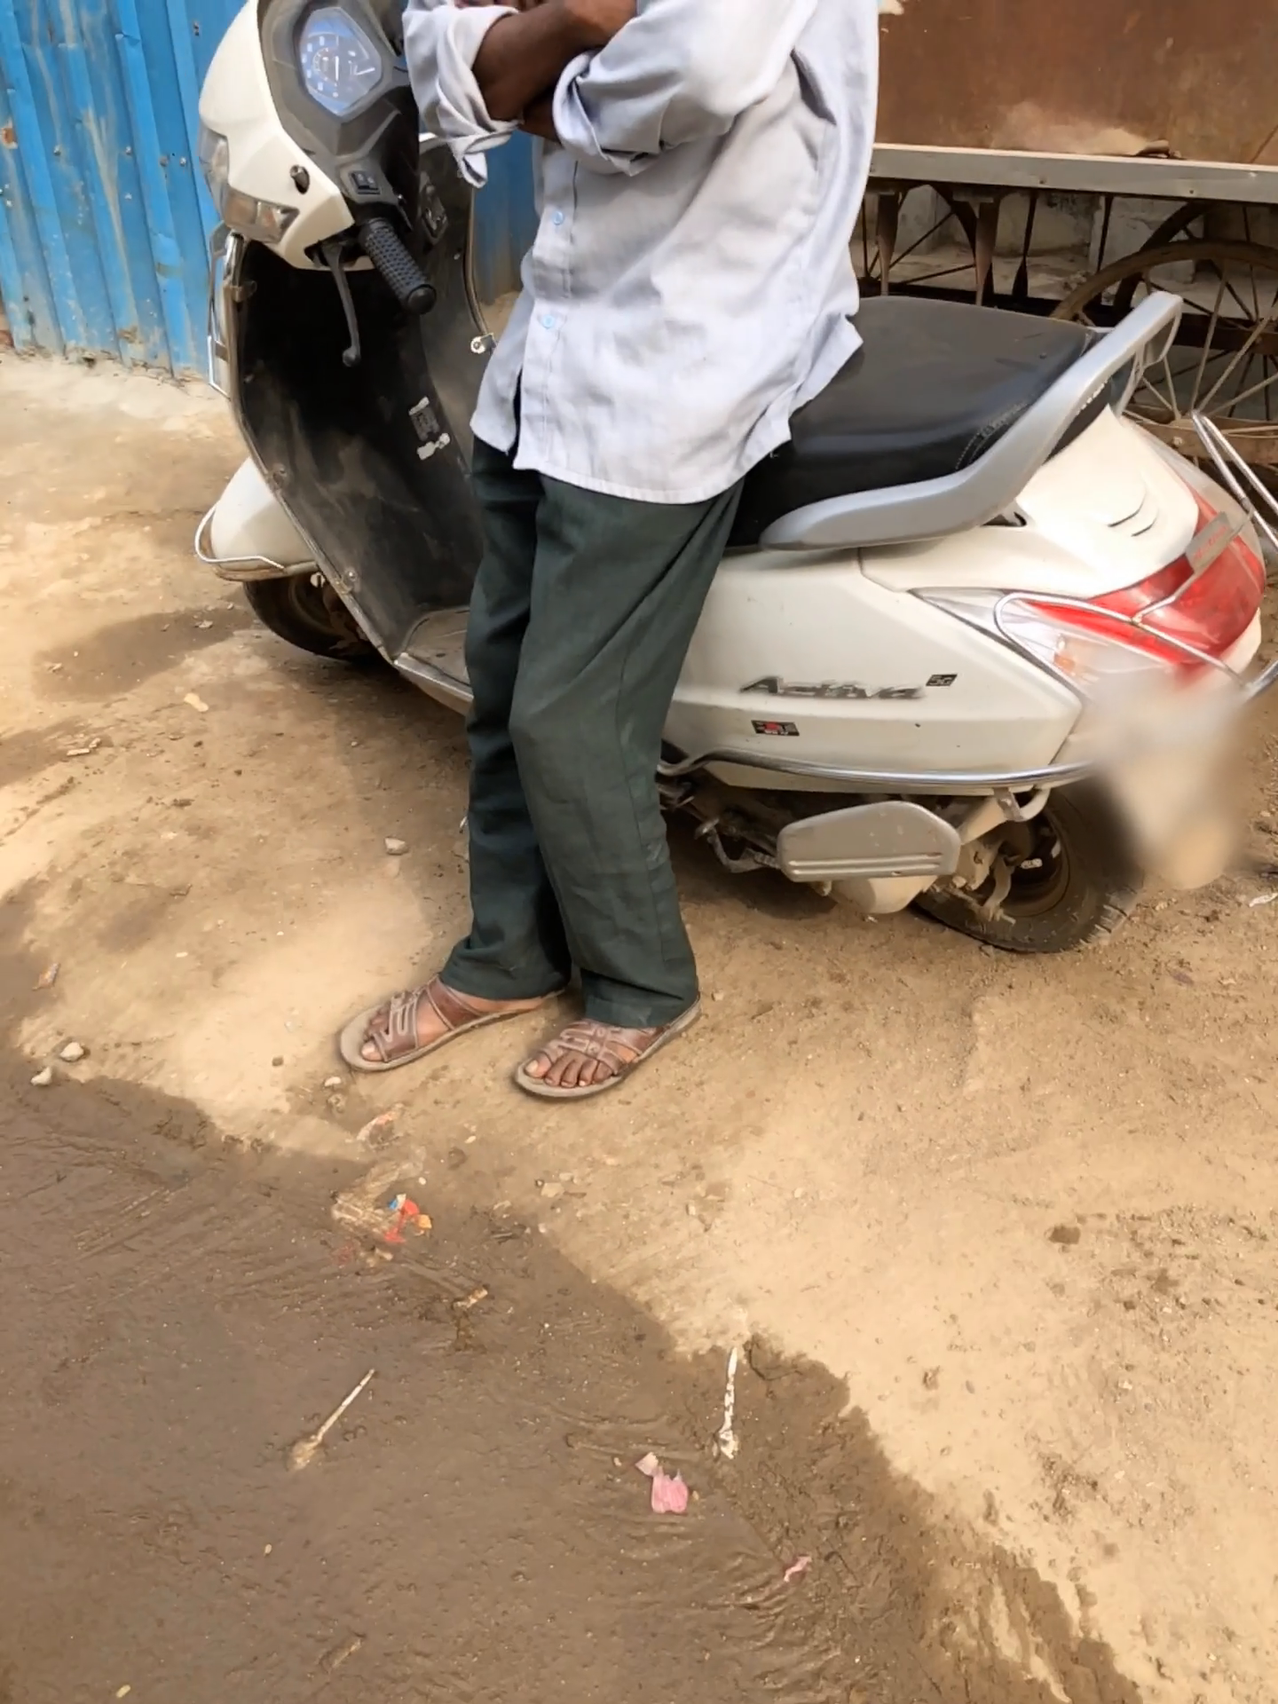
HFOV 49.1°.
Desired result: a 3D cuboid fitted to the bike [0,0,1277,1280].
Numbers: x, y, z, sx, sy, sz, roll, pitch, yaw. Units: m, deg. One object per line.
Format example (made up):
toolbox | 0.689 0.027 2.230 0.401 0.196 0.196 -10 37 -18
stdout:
bike | -0.171 -0.418 1.720 1.576 1.112 0.659 22 39 32
